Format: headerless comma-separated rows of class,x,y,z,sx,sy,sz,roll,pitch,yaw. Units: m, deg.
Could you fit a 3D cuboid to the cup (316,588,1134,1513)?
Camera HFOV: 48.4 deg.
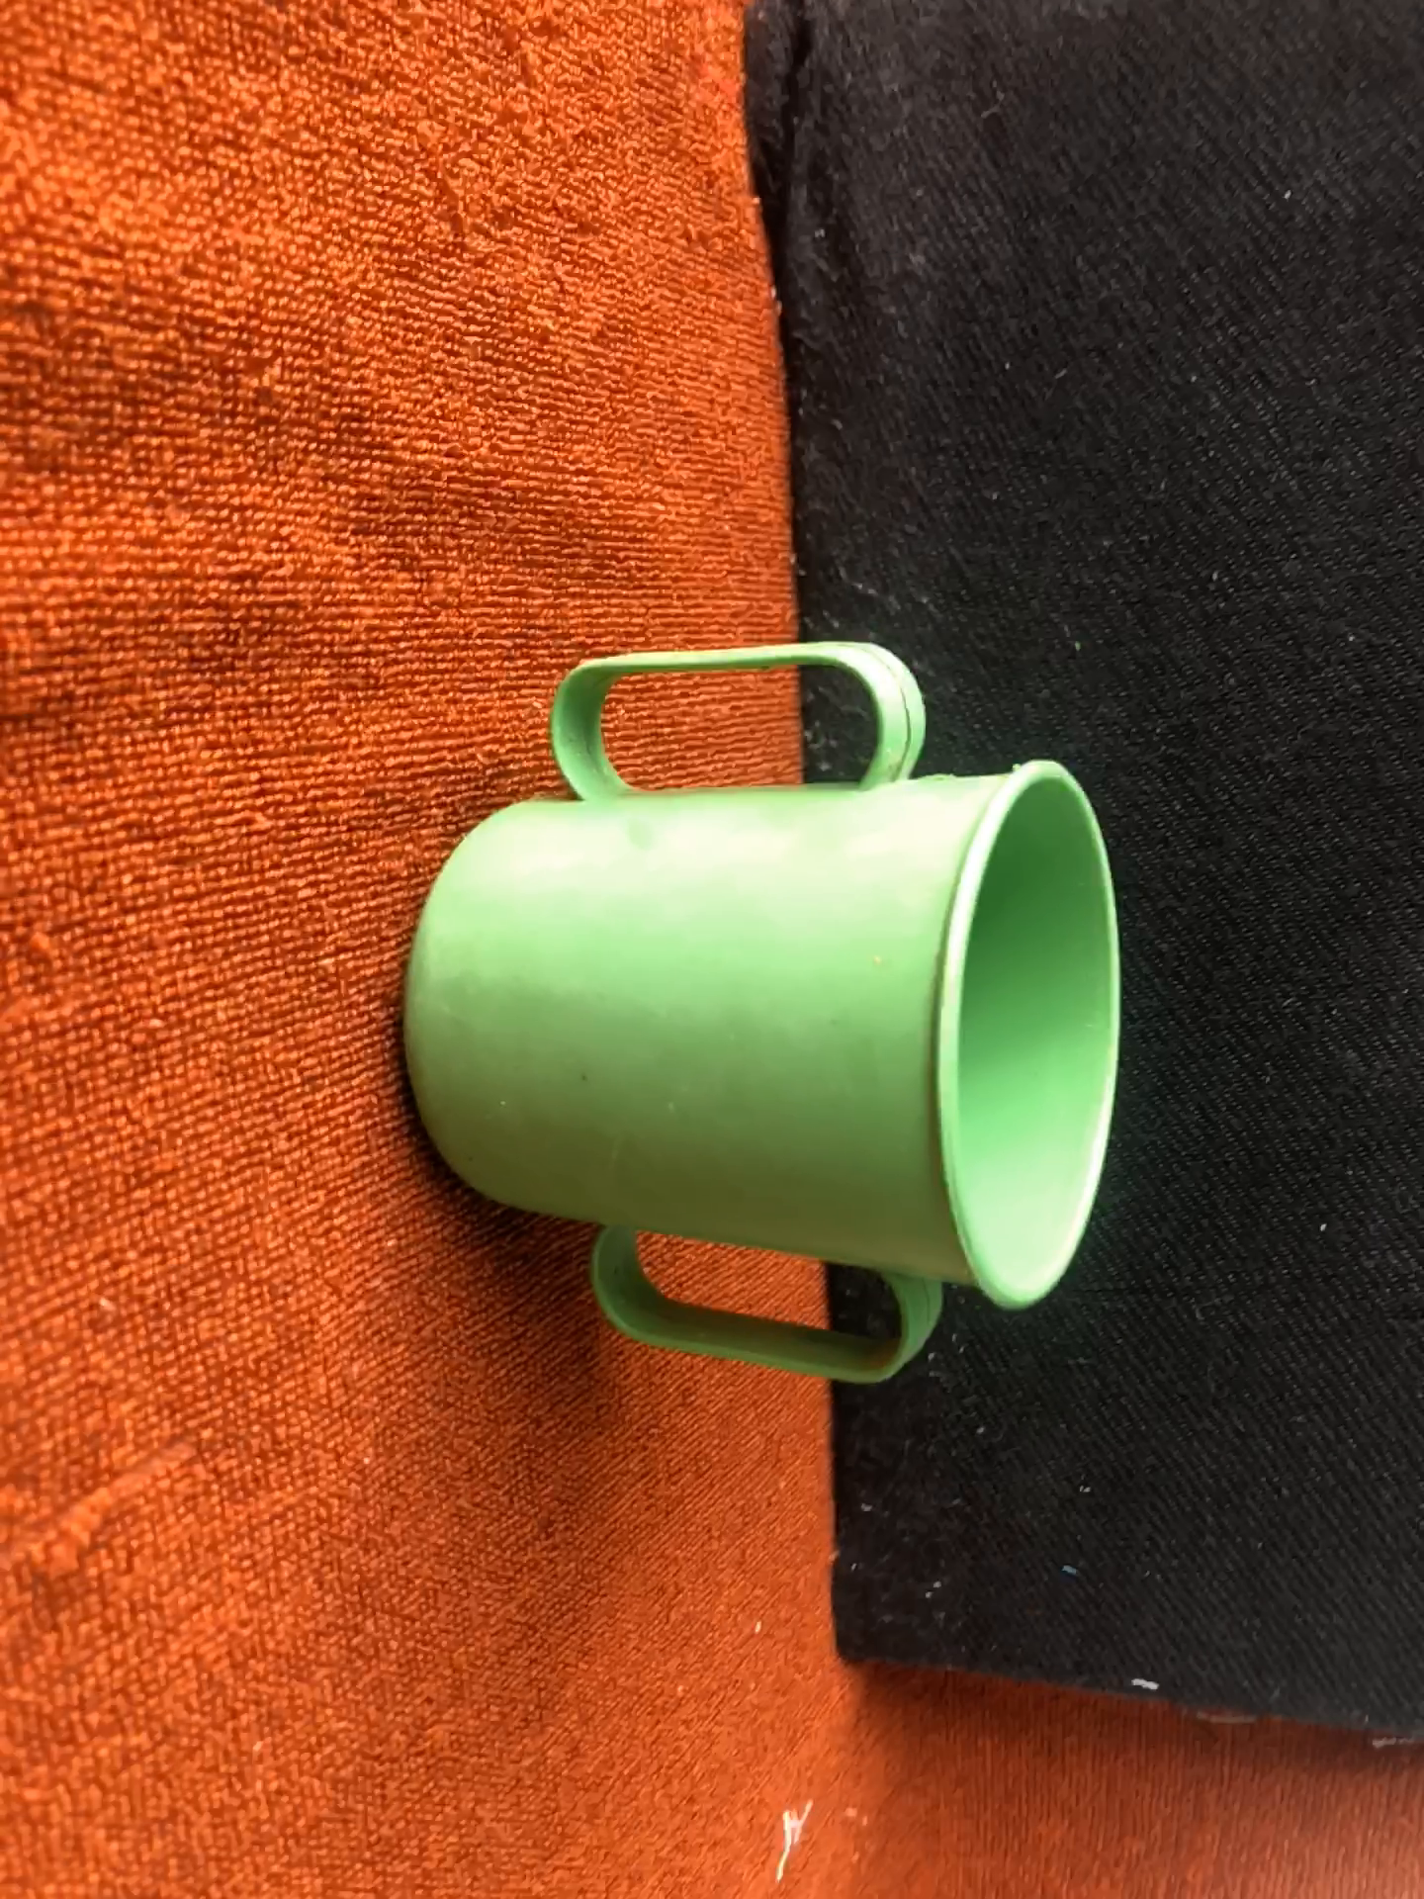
cup,0.009,0.005,0.225,0.081,0.079,0.100,-32,121,-58
